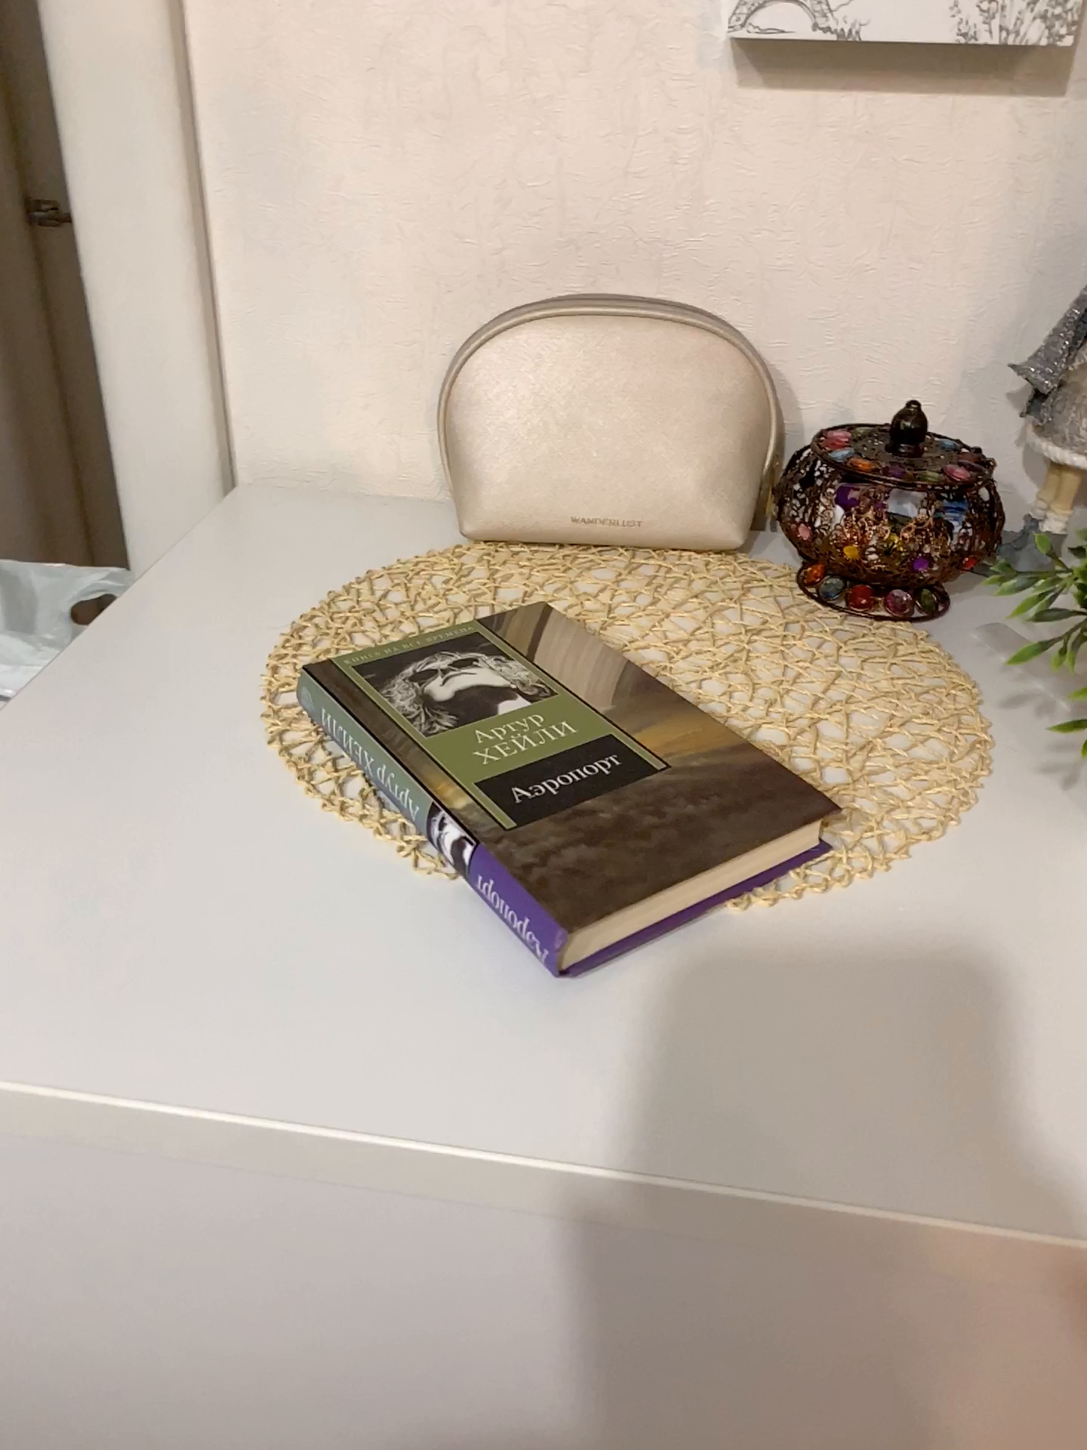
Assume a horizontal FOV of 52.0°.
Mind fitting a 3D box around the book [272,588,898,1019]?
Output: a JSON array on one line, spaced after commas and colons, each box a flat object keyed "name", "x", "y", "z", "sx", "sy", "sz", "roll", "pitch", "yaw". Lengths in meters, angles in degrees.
[{"name": "book", "x": 0.005, "y": 0.011, "z": 0.462, "sx": 0.150, "sy": 0.020, "sz": 0.231, "roll": -19, "pitch": 37, "yaw": -29}]
